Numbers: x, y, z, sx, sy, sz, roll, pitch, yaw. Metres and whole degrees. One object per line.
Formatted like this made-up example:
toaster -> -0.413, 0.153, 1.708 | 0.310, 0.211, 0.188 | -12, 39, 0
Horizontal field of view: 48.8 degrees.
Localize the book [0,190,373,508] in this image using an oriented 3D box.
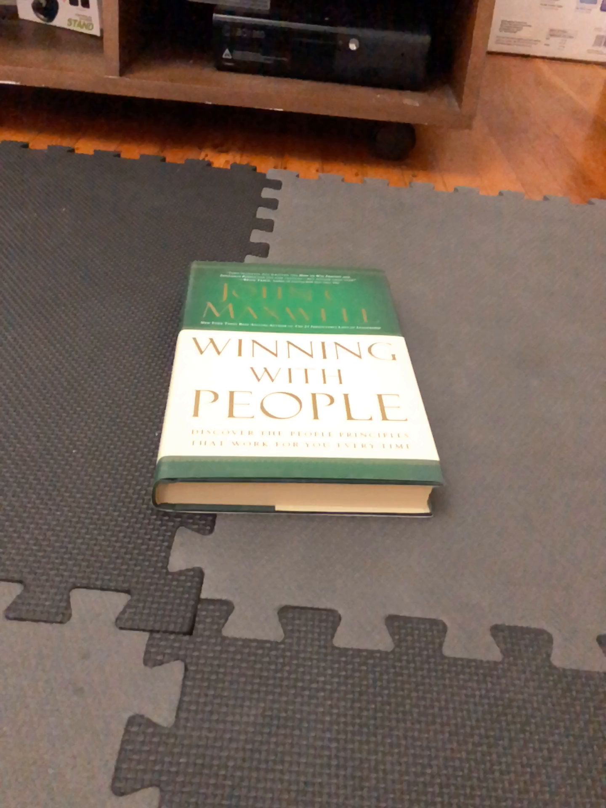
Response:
book -> -0.070, -0.058, 0.424 | 0.200, 0.030, 0.292 | 3, 39, -3
